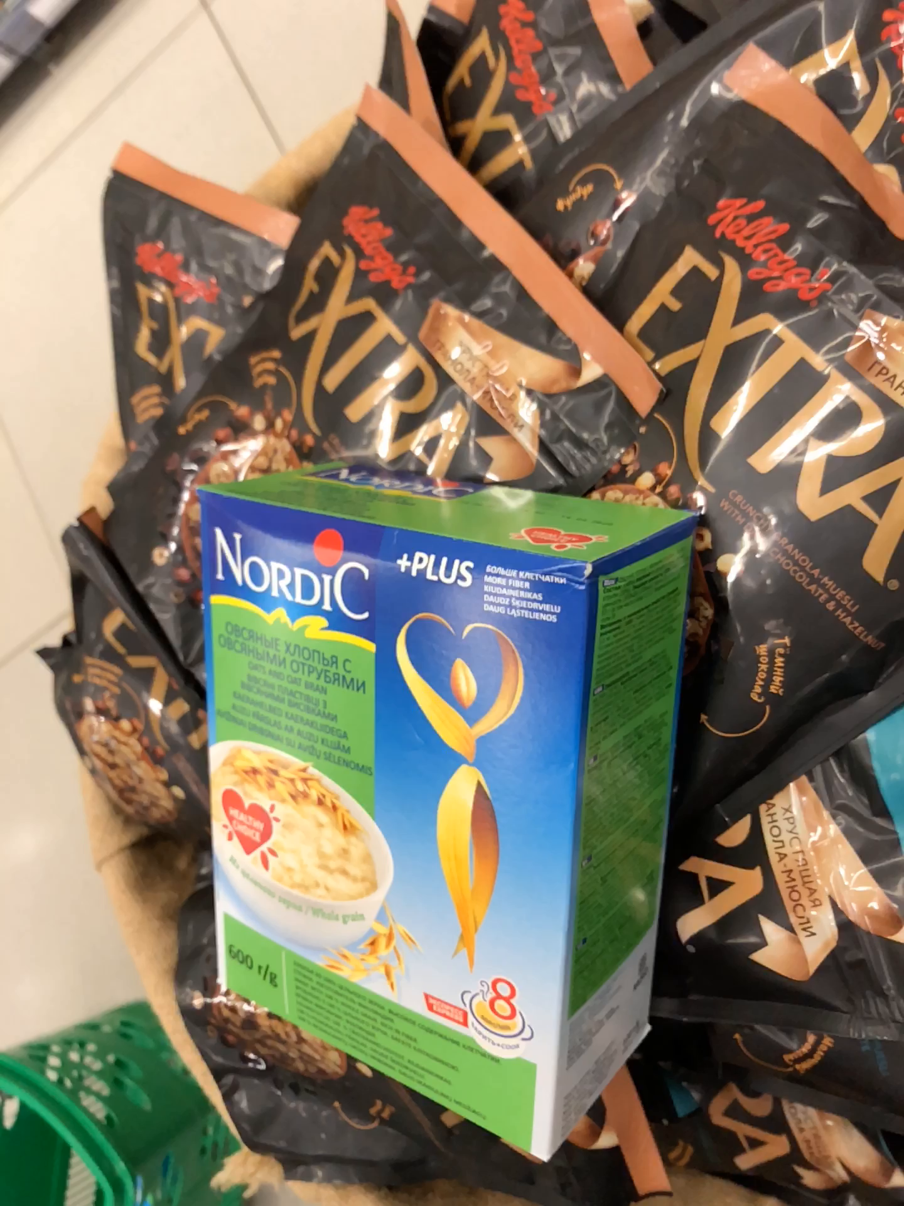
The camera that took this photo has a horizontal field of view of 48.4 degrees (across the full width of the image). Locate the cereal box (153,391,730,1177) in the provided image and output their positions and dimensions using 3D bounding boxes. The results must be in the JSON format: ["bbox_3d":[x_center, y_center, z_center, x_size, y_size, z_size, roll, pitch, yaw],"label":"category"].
[{"bbox_3d":[-0.010,0.043,0.338,0.161,0.080,0.210,13,110,33],"label":"cereal box"}]
